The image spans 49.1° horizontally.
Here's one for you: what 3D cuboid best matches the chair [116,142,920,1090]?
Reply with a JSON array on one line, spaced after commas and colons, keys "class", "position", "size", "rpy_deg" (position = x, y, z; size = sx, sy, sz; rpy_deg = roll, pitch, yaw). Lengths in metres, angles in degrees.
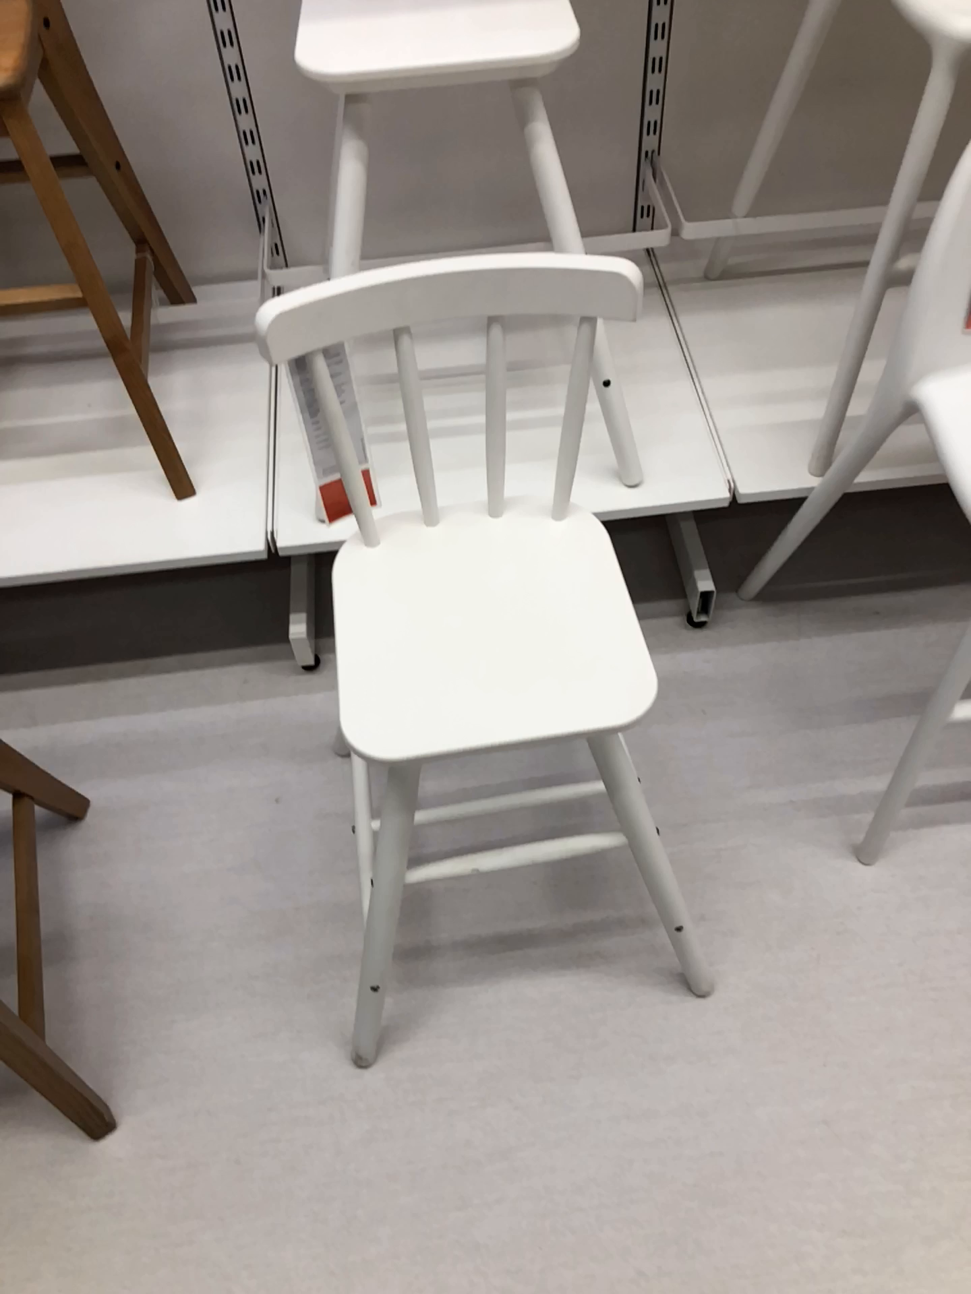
[{"class": "chair", "position": [0.002, 0.032, 1.079], "size": [0.470, 0.795, 0.503], "rpy_deg": [-9, 52, -4]}]
